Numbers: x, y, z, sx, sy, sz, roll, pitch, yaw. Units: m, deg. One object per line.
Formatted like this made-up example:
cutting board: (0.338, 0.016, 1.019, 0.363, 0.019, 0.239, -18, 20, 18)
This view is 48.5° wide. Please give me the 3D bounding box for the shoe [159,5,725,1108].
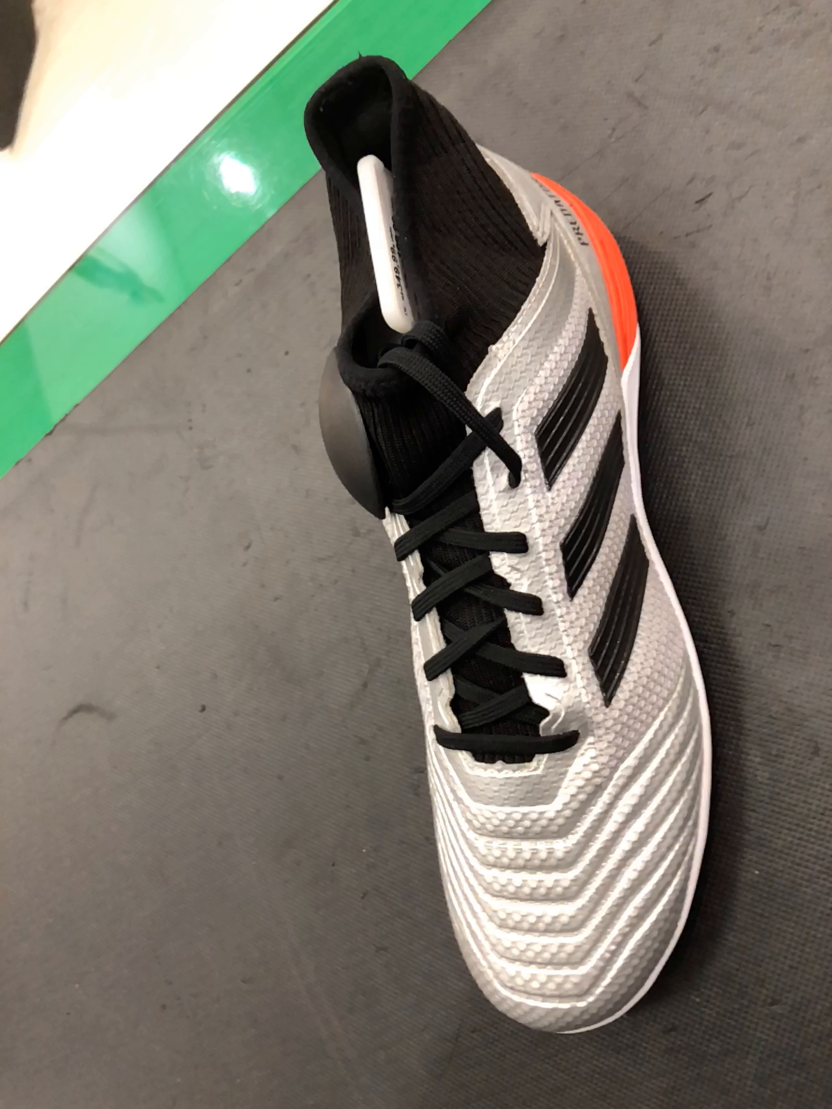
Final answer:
shoe: (0.012, 0.013, 0.270, 0.090, 0.140, 0.250, -9, 79, 31)
